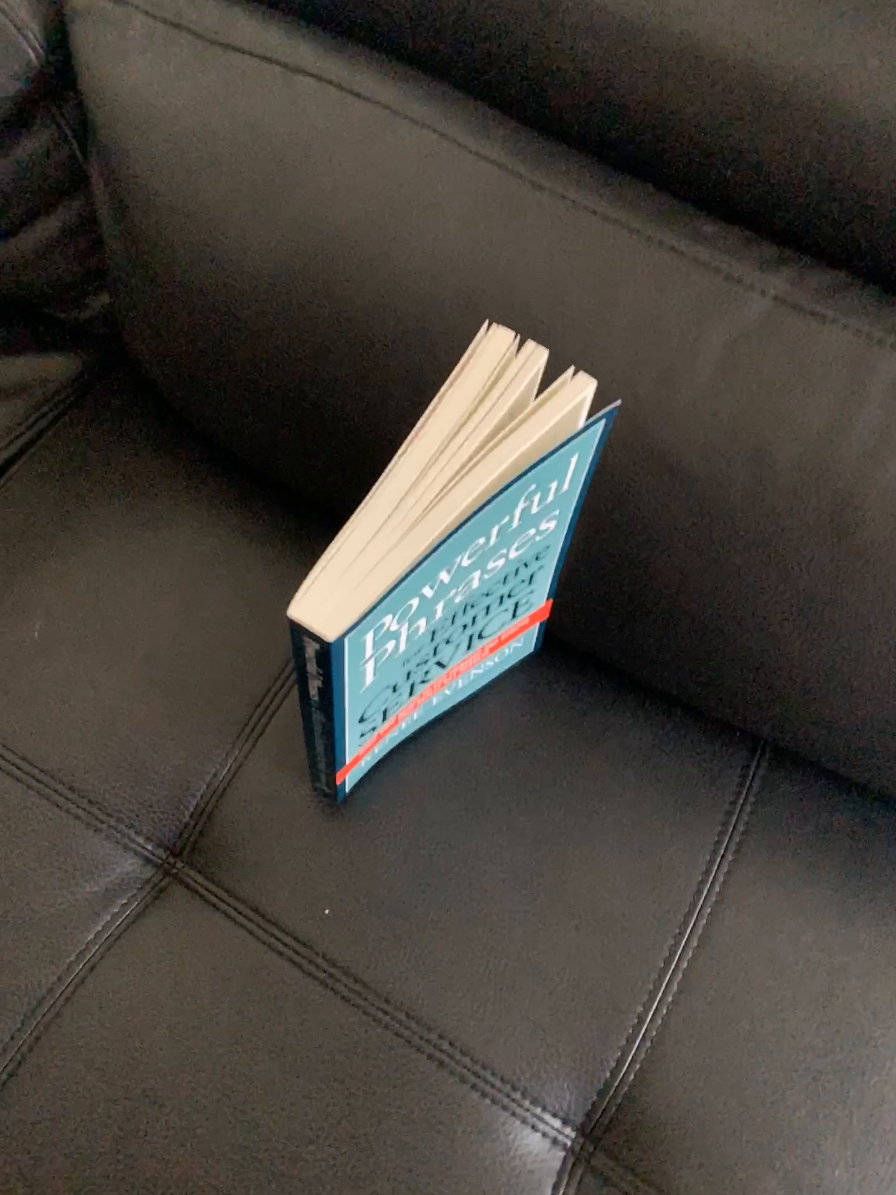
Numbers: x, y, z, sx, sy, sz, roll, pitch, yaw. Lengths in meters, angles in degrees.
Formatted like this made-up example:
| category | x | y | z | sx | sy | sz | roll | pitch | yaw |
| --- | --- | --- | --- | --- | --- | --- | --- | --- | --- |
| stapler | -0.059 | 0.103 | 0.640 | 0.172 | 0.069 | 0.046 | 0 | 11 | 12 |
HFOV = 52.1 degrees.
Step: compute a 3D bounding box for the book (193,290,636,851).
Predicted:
| category | x | y | z | sx | sy | sz | roll | pitch | yaw |
| --- | --- | --- | --- | --- | --- | --- | --- | --- | --- |
| book | -0.014 | 0.008 | 0.446 | 0.082 | 0.247 | 0.163 | 33 | 67 | 12 |
